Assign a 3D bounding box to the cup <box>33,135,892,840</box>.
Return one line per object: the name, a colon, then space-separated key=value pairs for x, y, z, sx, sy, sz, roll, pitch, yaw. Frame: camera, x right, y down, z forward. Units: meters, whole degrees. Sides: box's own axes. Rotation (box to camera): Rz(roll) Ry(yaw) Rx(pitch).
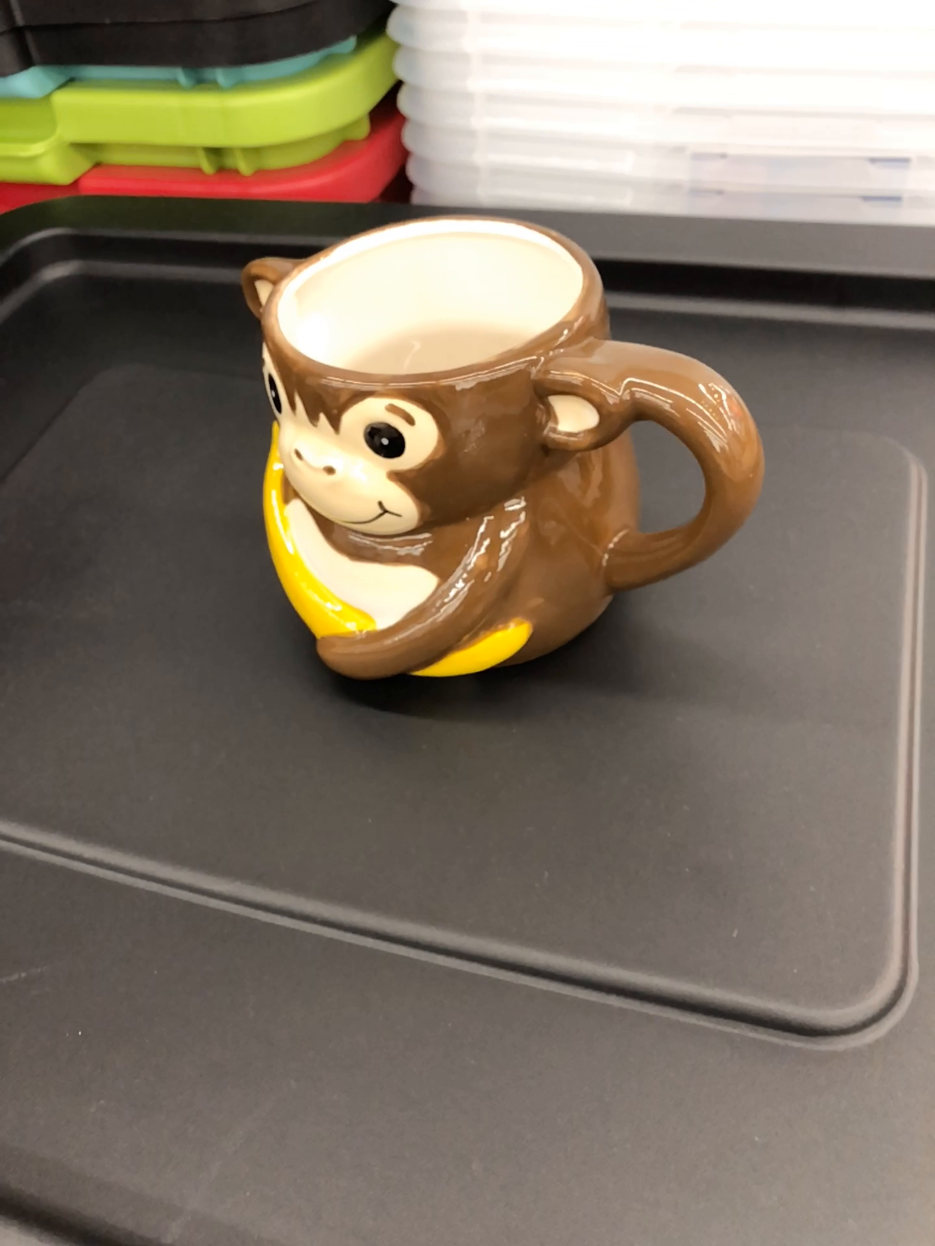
cup: x=0.003 y=-0.044 z=0.272 sx=0.160 sy=0.100 sz=0.110 roll=19 pitch=50 yaw=23
